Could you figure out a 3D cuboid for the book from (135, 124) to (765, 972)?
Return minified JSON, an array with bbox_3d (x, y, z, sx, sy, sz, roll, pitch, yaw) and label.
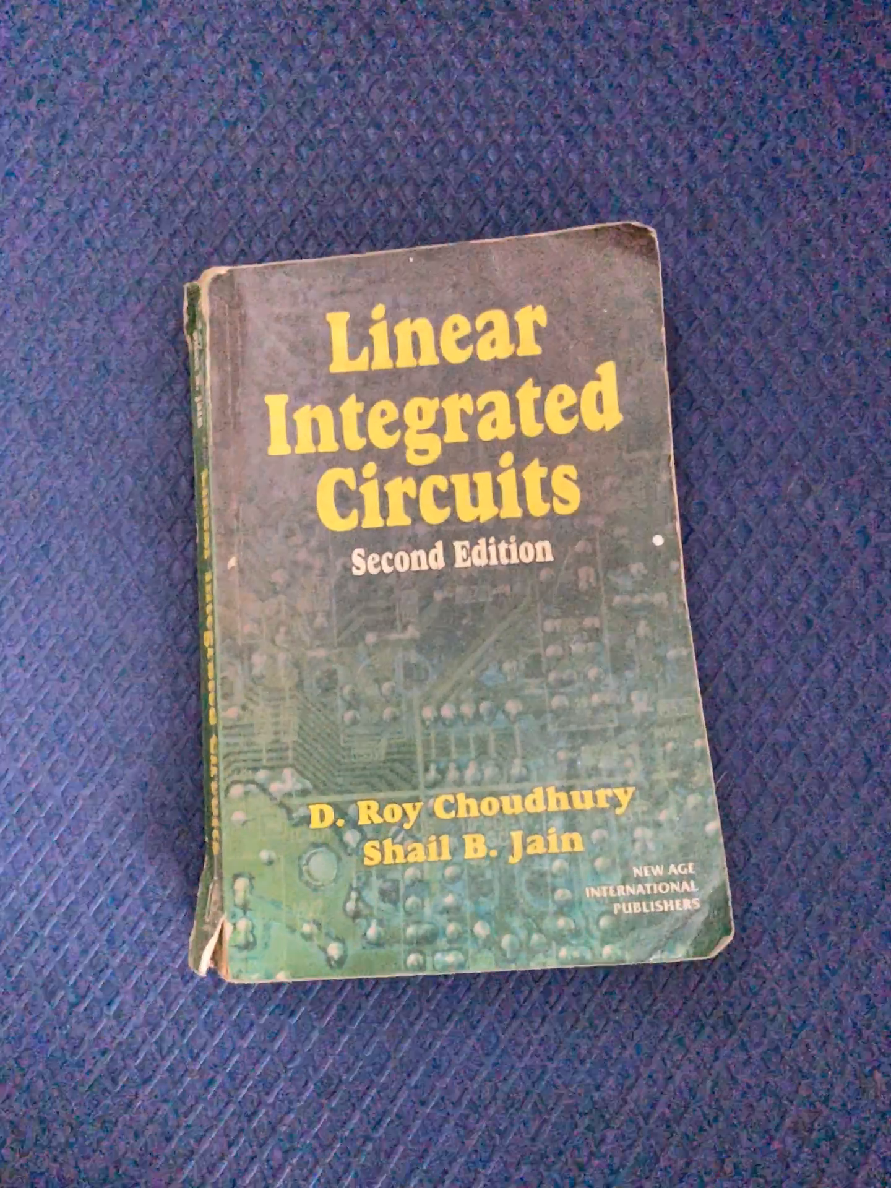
[{"bbox_3d":[-0.005,-0.019,0.324,0.190,0.040,0.270,-4,82,2],"label":"book"}]
